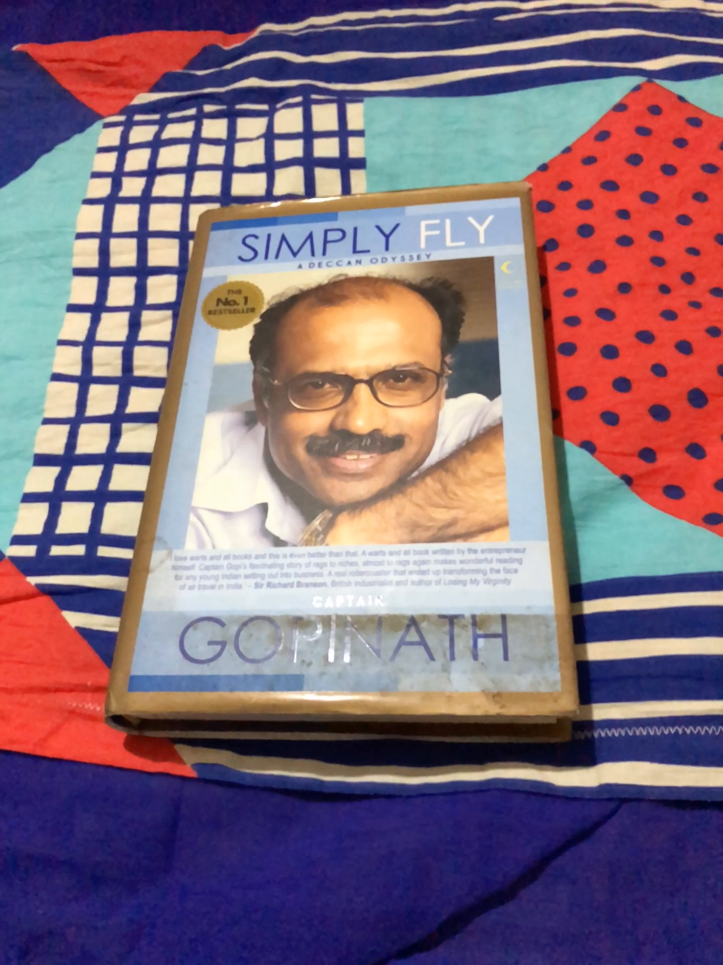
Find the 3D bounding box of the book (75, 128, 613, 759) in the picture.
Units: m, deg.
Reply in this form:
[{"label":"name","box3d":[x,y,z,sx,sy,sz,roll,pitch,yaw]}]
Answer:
[{"label":"book","box3d":[-0.002,-0.027,0.319,0.160,0.050,0.251,-2,62,6]}]
